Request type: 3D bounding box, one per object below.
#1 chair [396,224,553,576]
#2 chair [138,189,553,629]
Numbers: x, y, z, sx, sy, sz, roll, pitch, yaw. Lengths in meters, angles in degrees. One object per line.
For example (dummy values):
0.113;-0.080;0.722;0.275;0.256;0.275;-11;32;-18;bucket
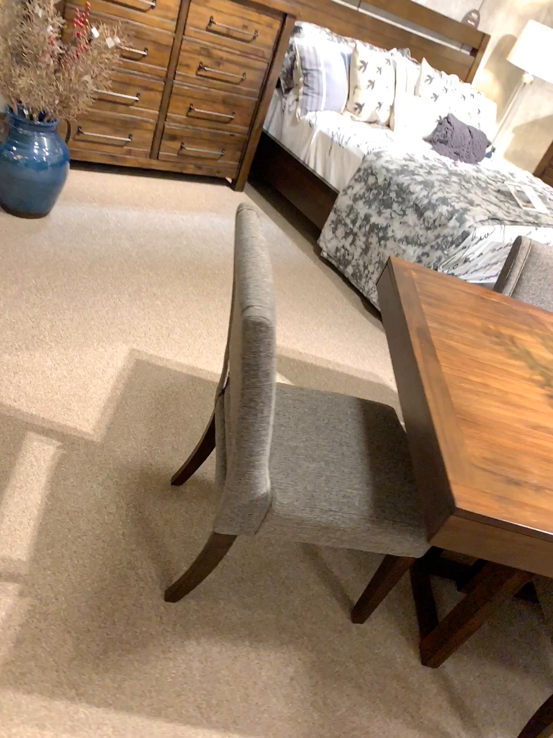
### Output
0.845;0.110;1.851;0.479;0.863;0.634;16;35;-10;chair
0.089;0.149;1.364;0.630;0.863;0.482;13;36;-15;chair
